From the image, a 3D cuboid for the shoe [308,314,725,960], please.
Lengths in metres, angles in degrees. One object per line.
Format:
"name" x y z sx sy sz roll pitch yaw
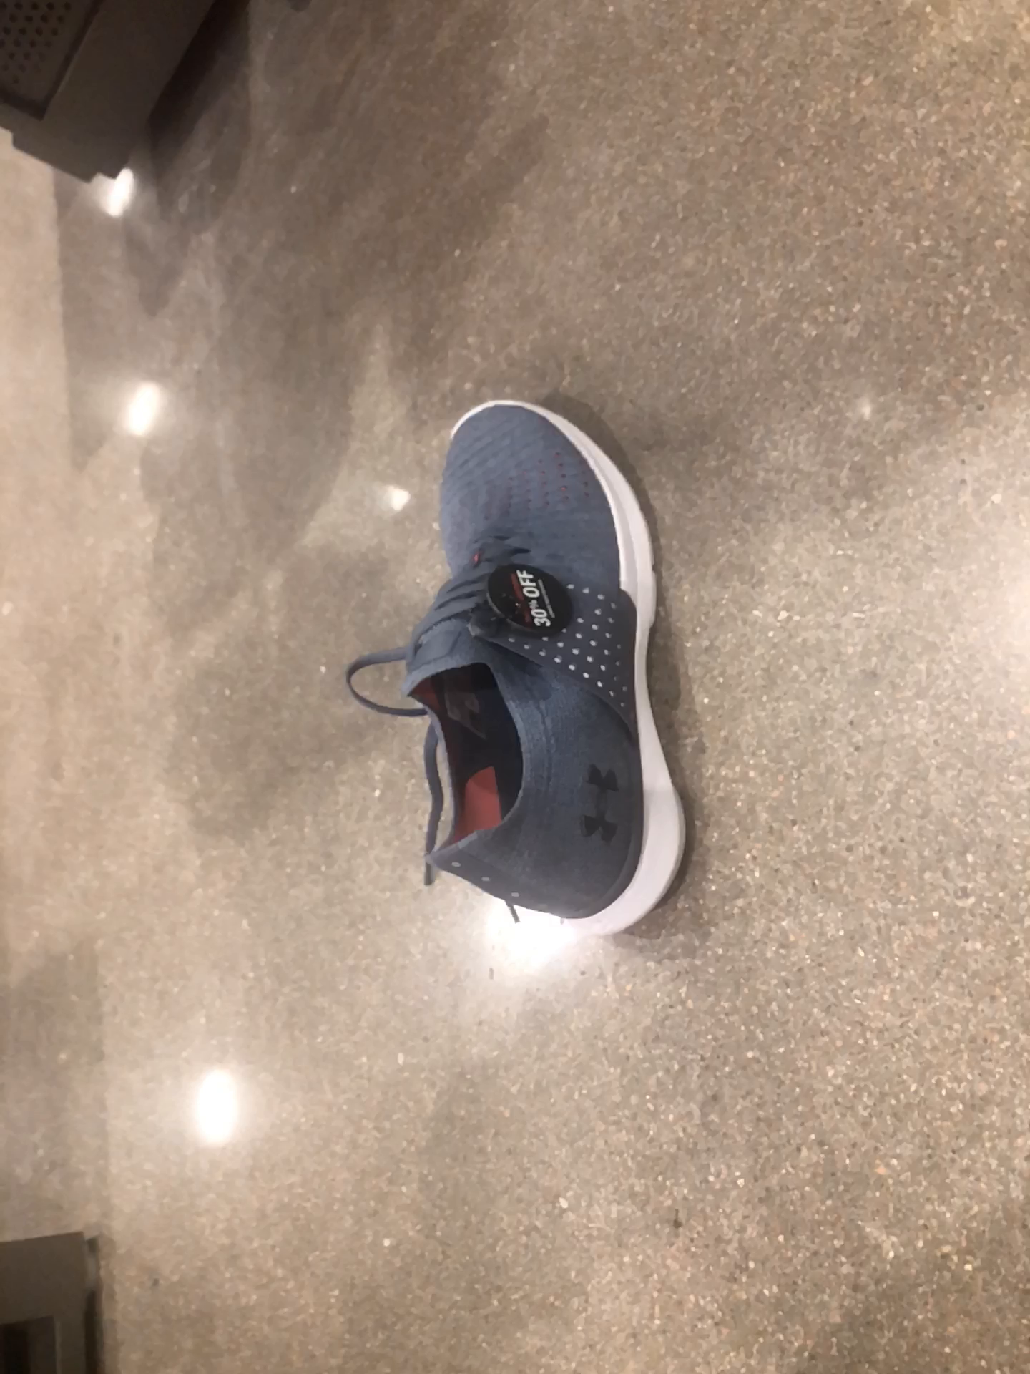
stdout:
"shoe" -0.008 -0.017 0.505 0.100 0.109 0.250 -30 59 39
